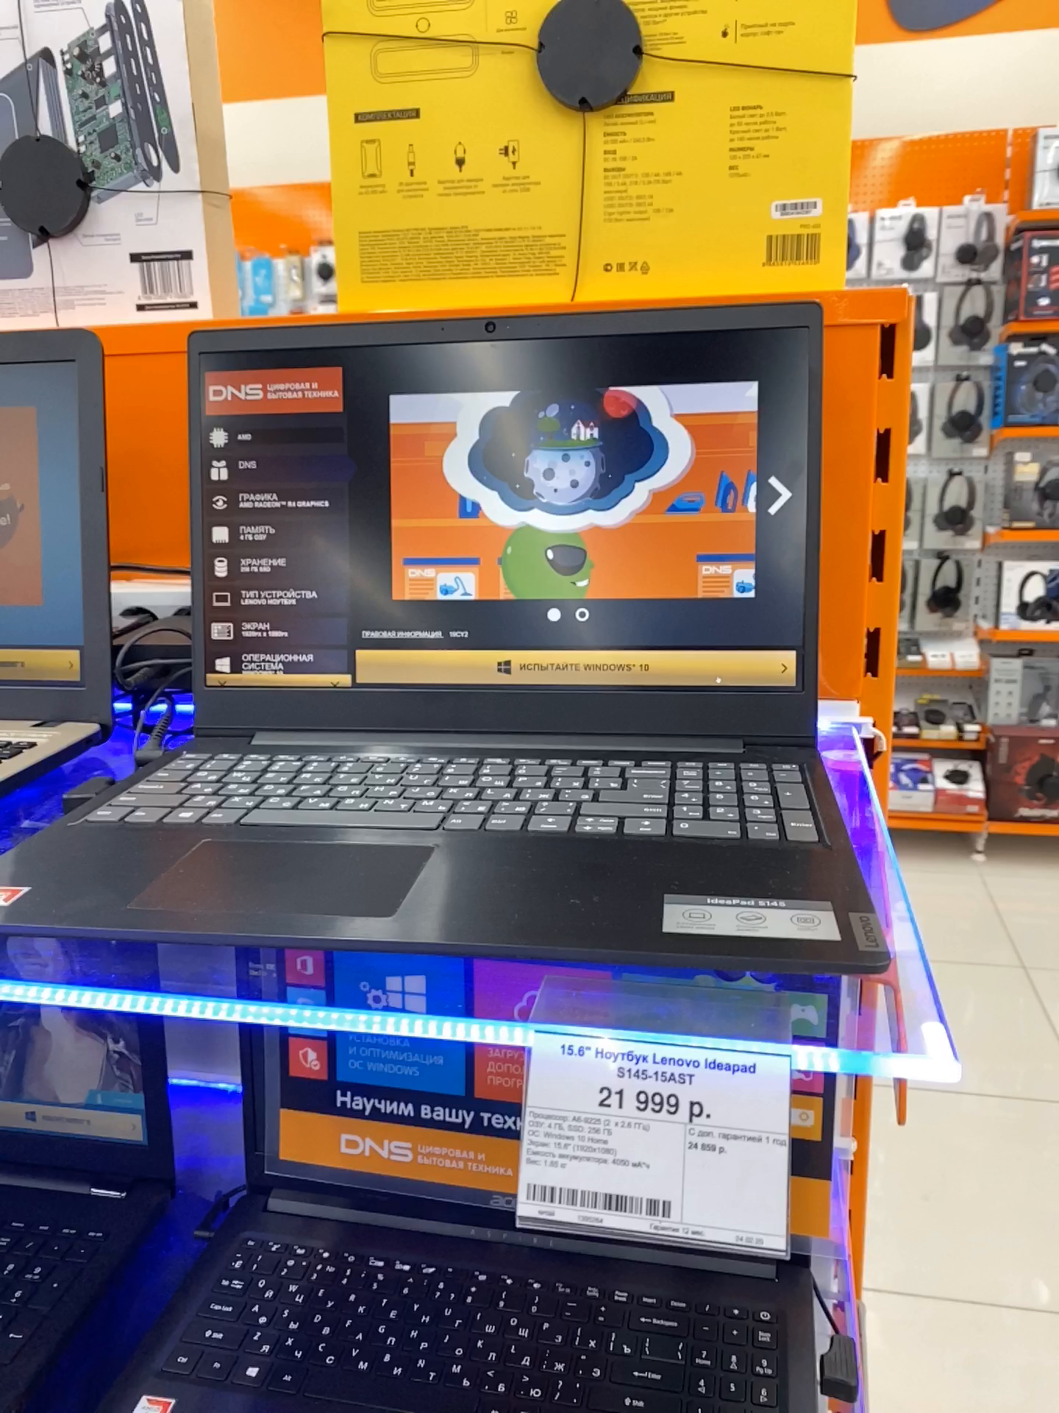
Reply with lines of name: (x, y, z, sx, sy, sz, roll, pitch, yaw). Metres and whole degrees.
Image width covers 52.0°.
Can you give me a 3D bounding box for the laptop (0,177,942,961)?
laptop: (-0.039, -0.068, 0.495, 0.359, 0.233, 0.298, 0, 14, 9)
